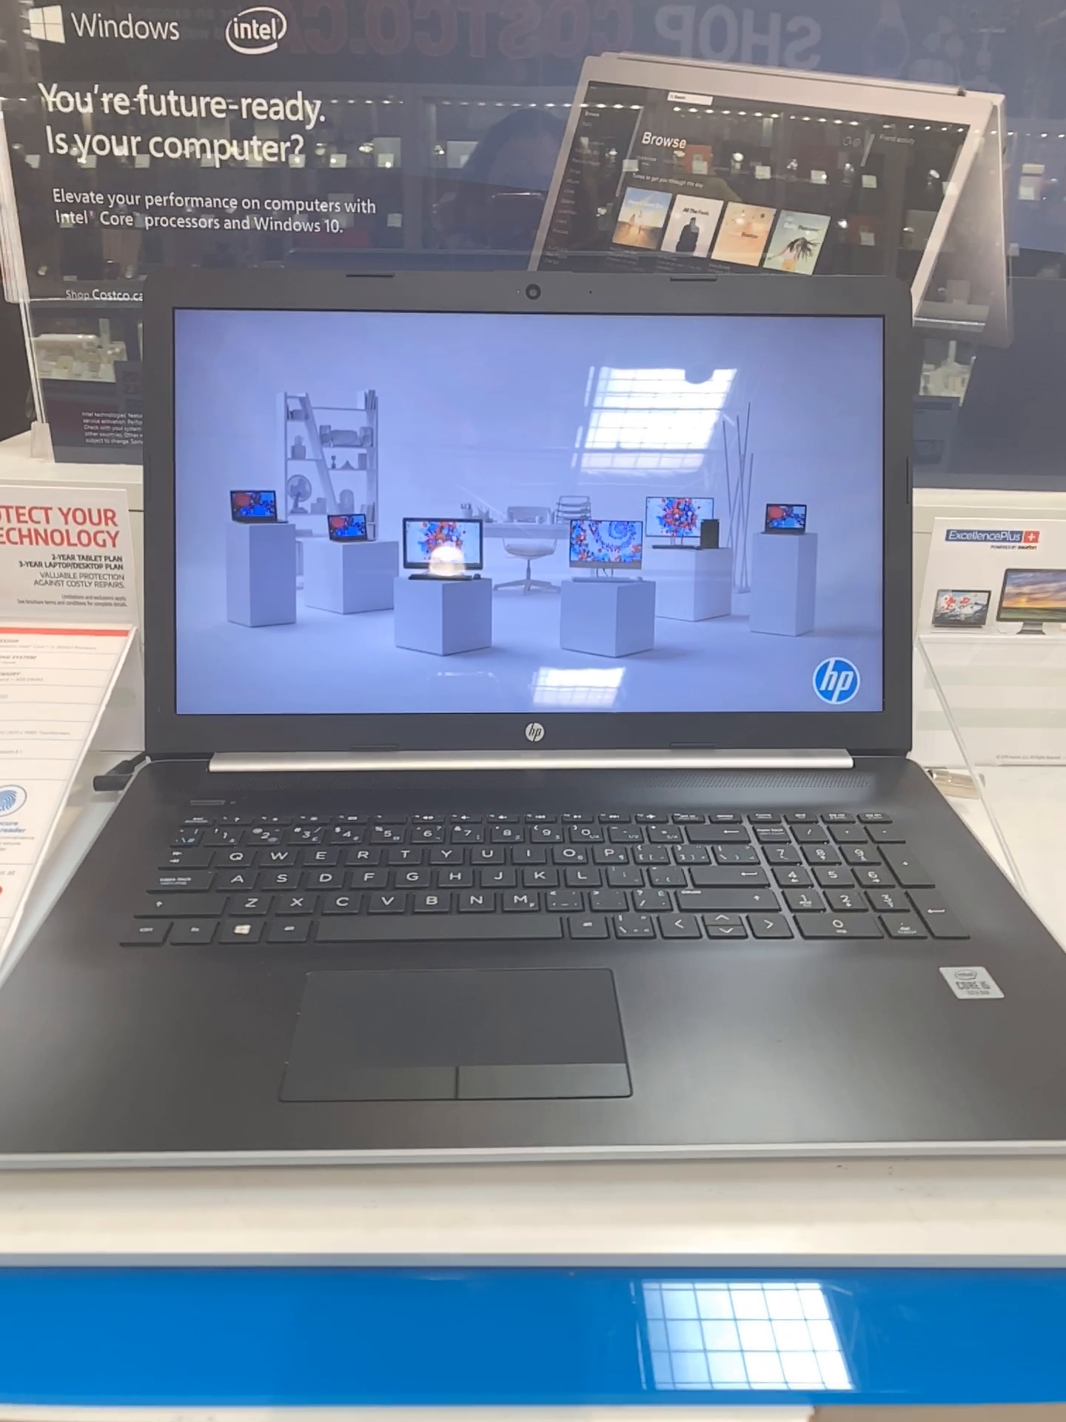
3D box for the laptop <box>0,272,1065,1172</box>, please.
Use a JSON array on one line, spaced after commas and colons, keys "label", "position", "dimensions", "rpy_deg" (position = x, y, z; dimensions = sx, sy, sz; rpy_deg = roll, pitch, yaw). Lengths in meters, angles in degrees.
[{"label": "laptop", "position": [0.009, -0.048, 0.450], "dimensions": [0.394, 0.234, 0.371], "rpy_deg": [0, 23, -3]}]
